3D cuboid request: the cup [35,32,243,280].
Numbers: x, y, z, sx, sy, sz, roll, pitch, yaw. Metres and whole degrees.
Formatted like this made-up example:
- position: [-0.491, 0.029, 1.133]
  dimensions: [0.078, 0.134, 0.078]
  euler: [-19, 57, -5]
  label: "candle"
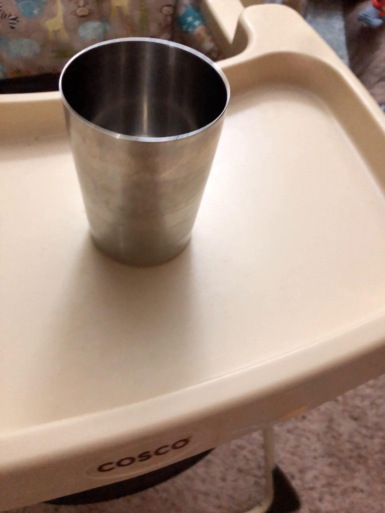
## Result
- position: [-0.030, -0.048, 0.220]
  dimensions: [0.073, 0.090, 0.073]
  euler: [4, 57, -6]
  label: "cup"
